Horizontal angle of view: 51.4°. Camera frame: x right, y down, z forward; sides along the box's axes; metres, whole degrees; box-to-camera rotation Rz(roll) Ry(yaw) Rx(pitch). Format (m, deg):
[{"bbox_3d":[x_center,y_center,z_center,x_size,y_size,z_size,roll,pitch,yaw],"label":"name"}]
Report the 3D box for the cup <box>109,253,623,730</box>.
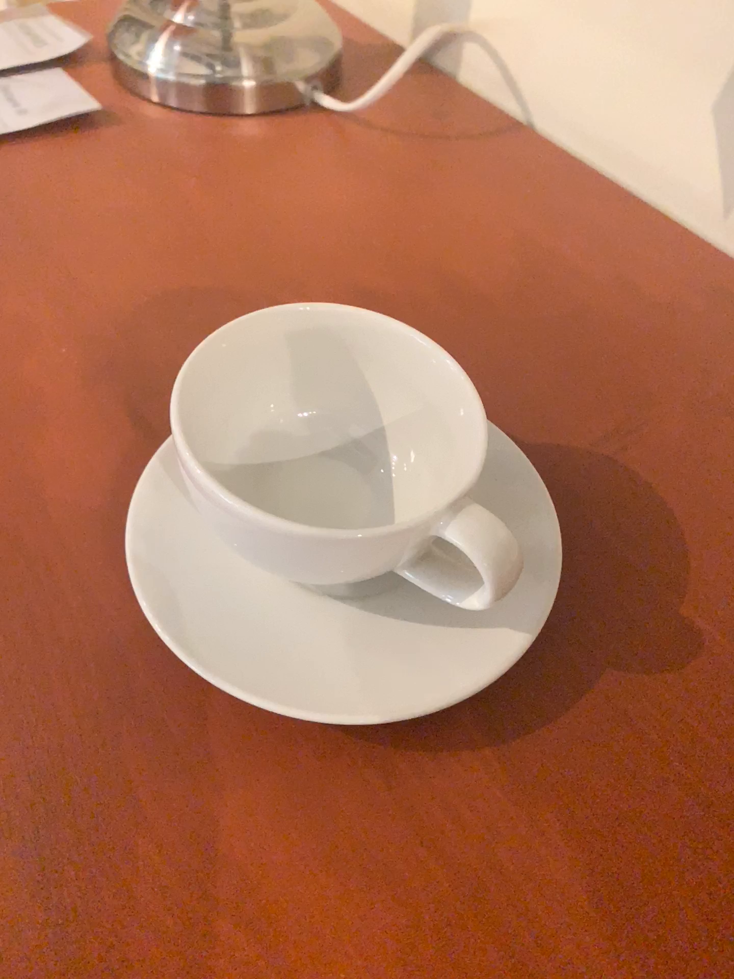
[{"bbox_3d":[-0.003,-0.007,0.218,0.110,0.050,0.080,39,56,24],"label":"cup"}]
